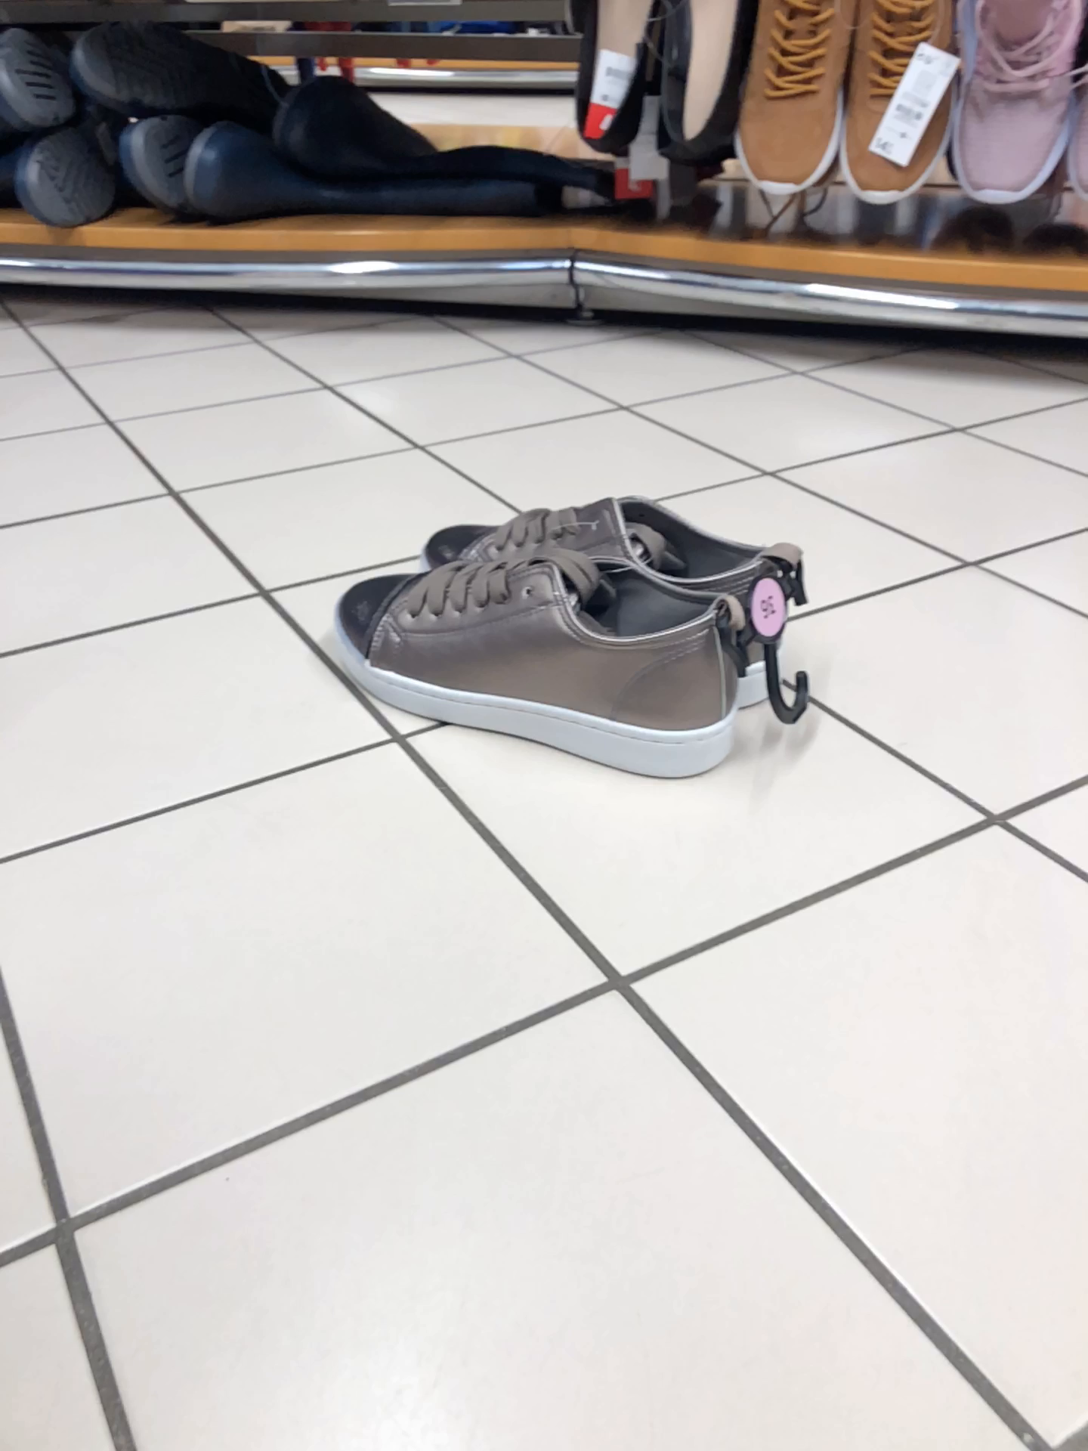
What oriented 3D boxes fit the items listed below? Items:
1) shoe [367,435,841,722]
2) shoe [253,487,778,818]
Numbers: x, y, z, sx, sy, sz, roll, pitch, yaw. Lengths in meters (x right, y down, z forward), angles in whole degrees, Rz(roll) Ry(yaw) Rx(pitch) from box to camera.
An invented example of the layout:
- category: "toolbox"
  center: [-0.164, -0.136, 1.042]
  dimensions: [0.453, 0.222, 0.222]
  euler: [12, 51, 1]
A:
- category: "shoe"
  center: [0.028, -0.089, 0.659]
  dimensions: [0.240, 0.080, 0.091]
  euler: [18, 36, 27]
- category: "shoe"
  center: [-0.017, -0.045, 0.593]
  dimensions: [0.240, 0.080, 0.091]
  euler: [17, 36, 26]
